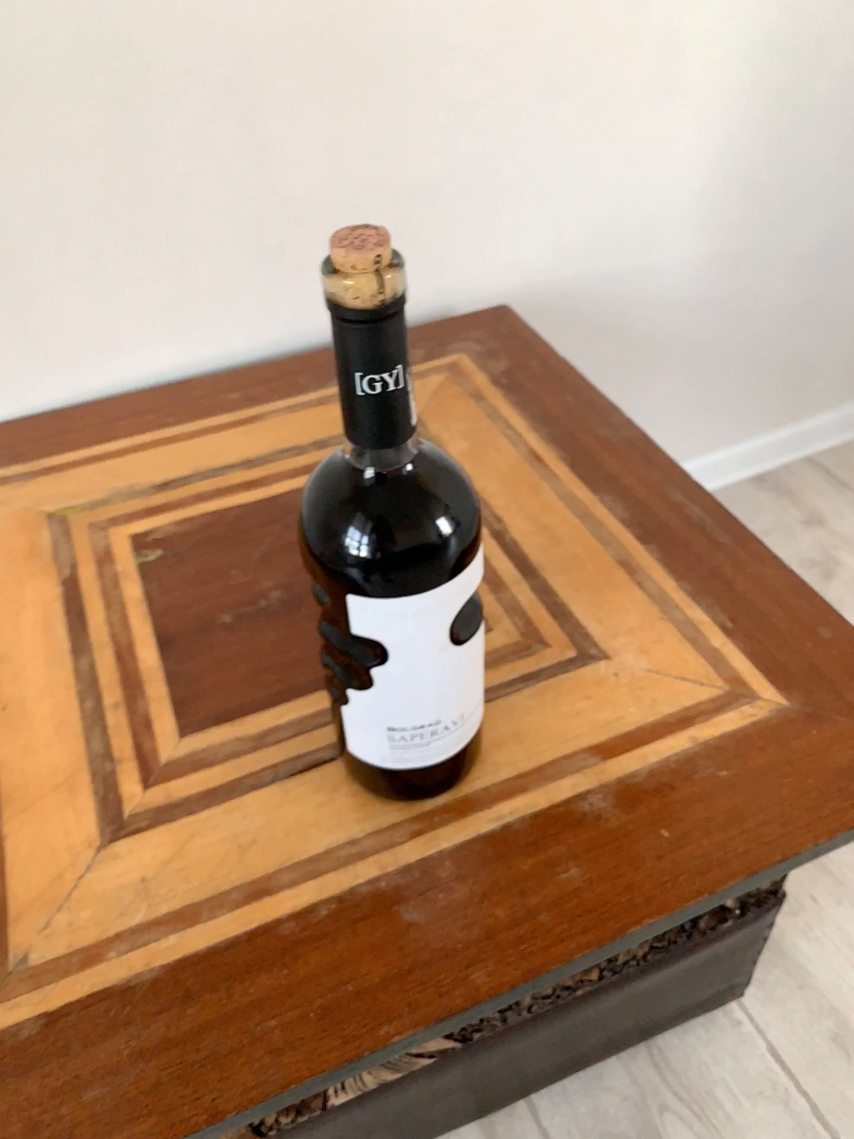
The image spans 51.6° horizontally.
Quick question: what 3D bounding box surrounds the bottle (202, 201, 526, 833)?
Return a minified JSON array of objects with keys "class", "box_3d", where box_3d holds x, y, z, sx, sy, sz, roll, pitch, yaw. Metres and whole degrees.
[{"class":"bottle","box_3d":[-0.018,-0.006,0.399,0.090,0.269,0.090,-2,42,2]}]
